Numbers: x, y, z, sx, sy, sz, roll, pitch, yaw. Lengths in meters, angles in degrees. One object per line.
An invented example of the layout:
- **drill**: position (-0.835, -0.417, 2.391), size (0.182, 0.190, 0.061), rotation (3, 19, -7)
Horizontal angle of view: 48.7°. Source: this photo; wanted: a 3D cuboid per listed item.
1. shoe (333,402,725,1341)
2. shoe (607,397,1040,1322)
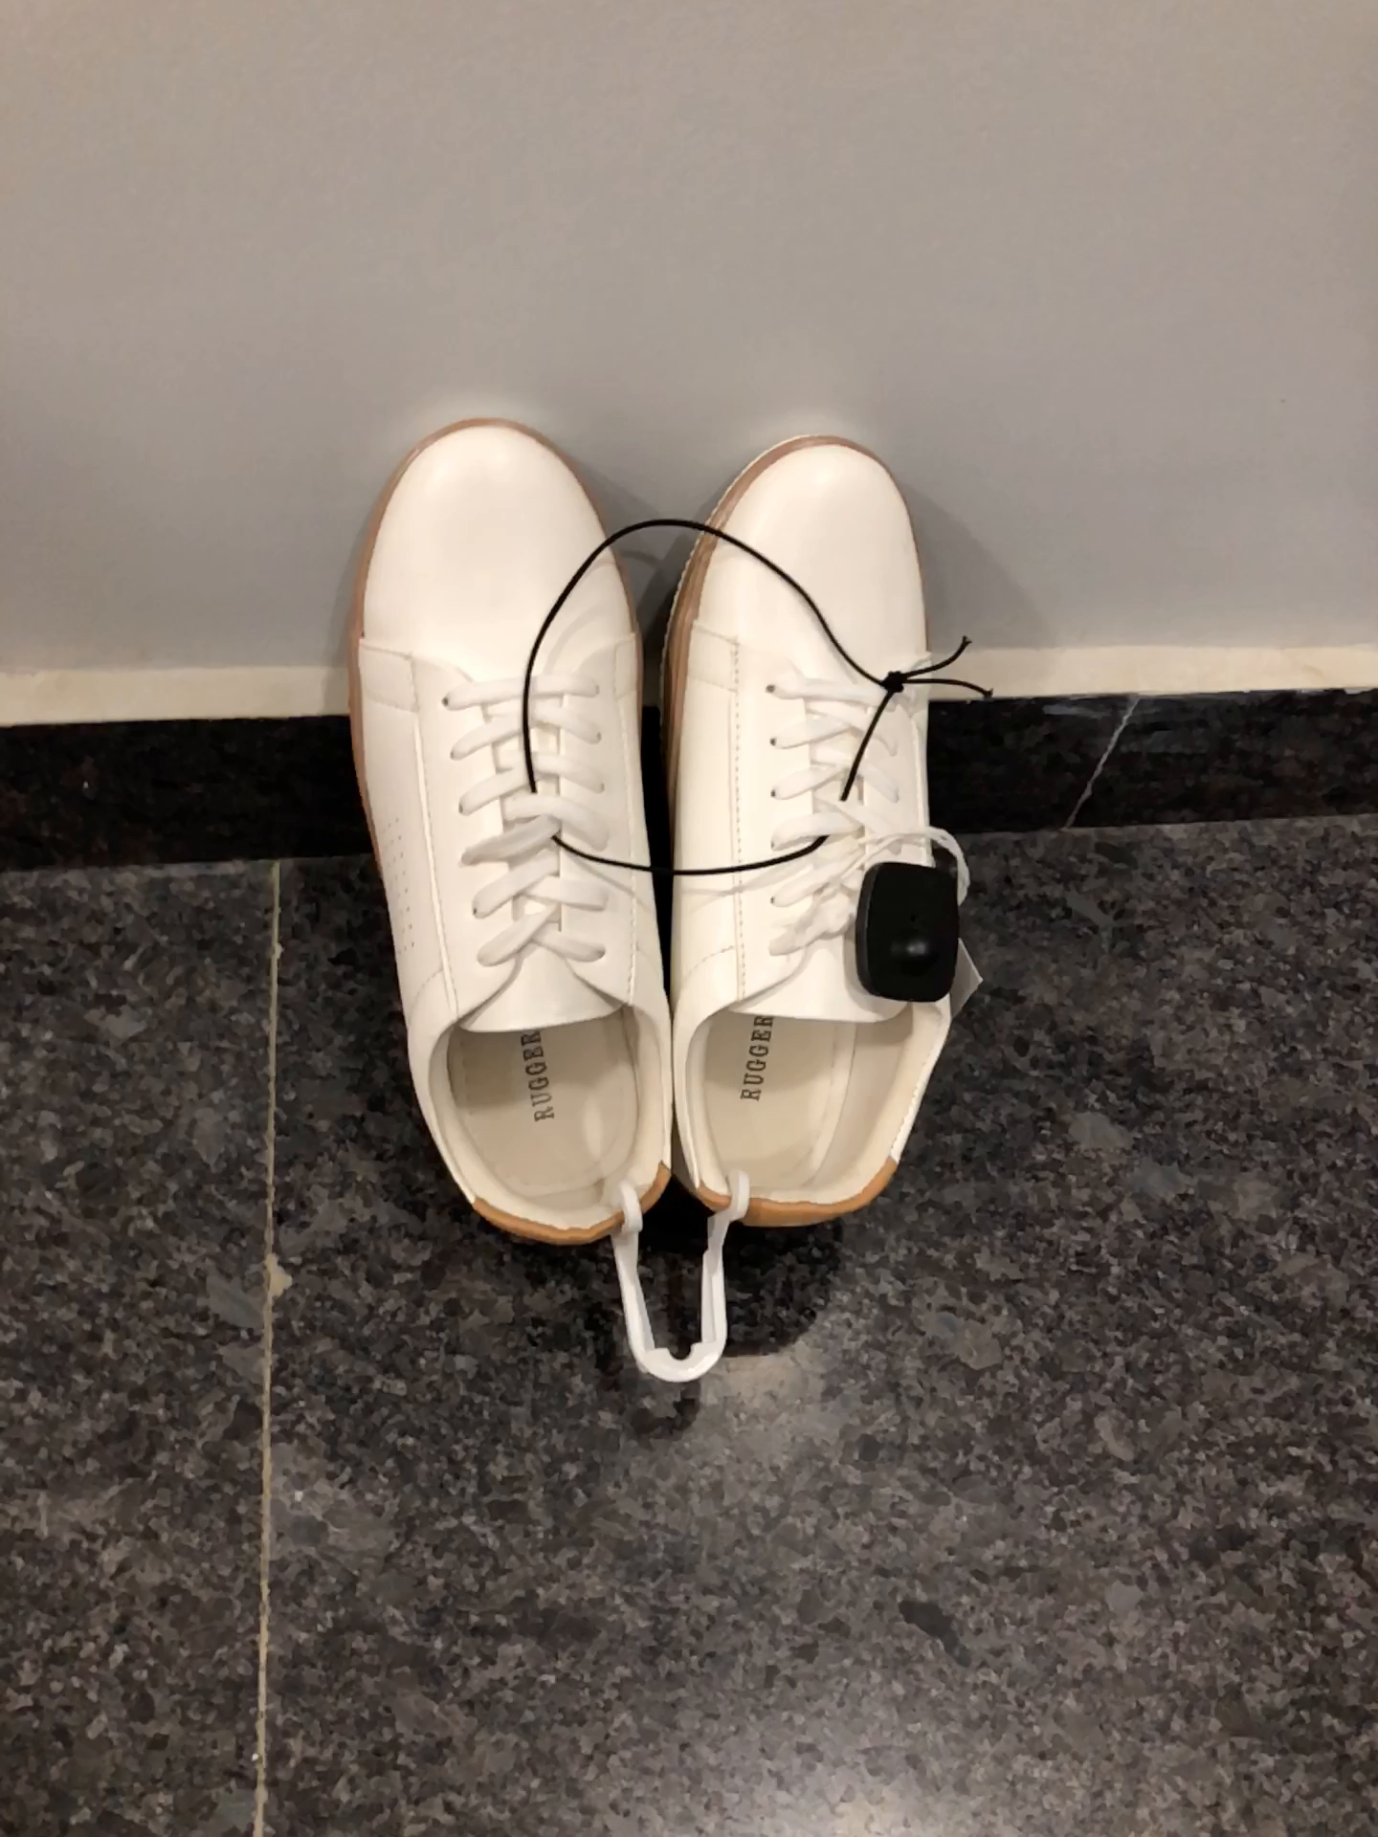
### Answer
- **shoe**: position (-0.052, -0.017, 0.491), size (0.101, 0.087, 0.272), rotation (-3, 95, -10)
- **shoe**: position (0.038, -0.019, 0.512), size (0.107, 0.104, 0.273), rotation (0, 96, -14)
